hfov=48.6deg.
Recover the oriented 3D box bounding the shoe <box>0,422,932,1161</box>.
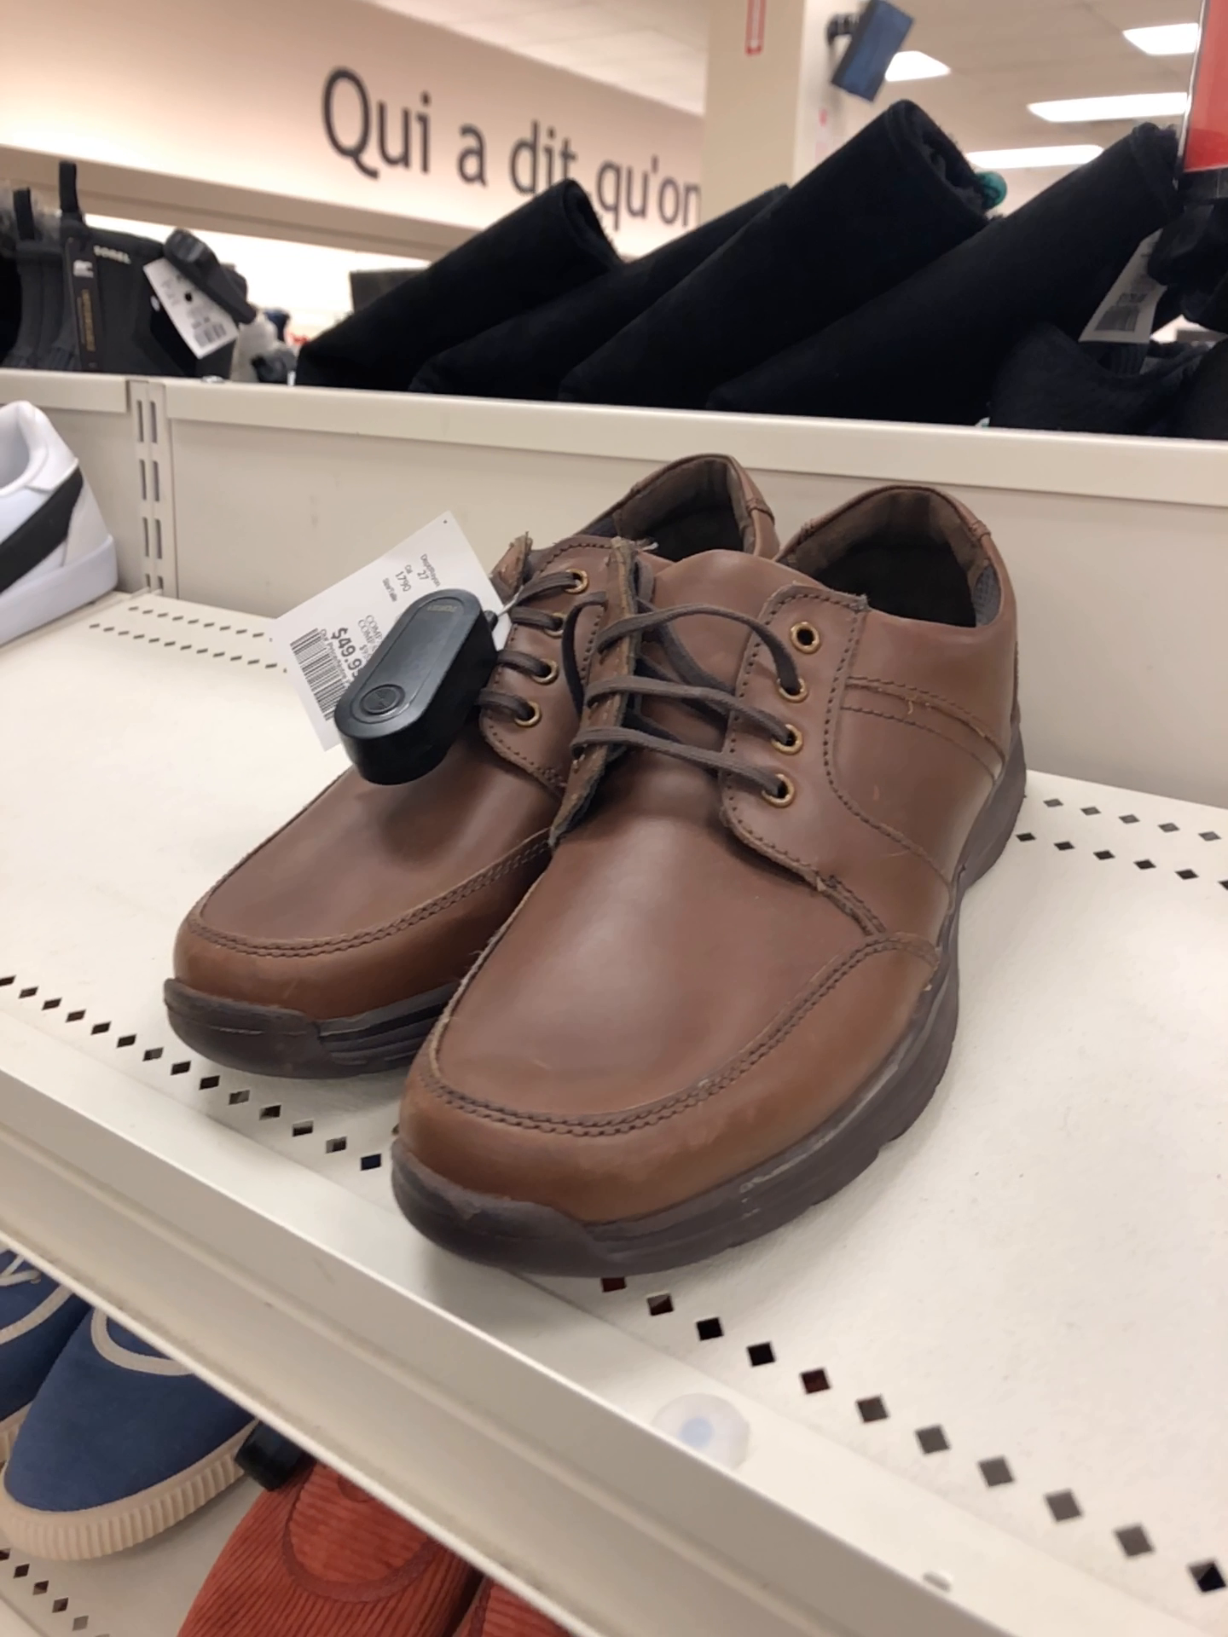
[{"bbox_3d":[-0.024,-0.045,0.432,0.120,0.109,0.332,14,28,32],"label":"shoe"}]

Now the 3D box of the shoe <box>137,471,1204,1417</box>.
[{"bbox_3d":[0.055,-0.016,0.371,0.120,0.109,0.342,13,25,30],"label":"shoe"}]
